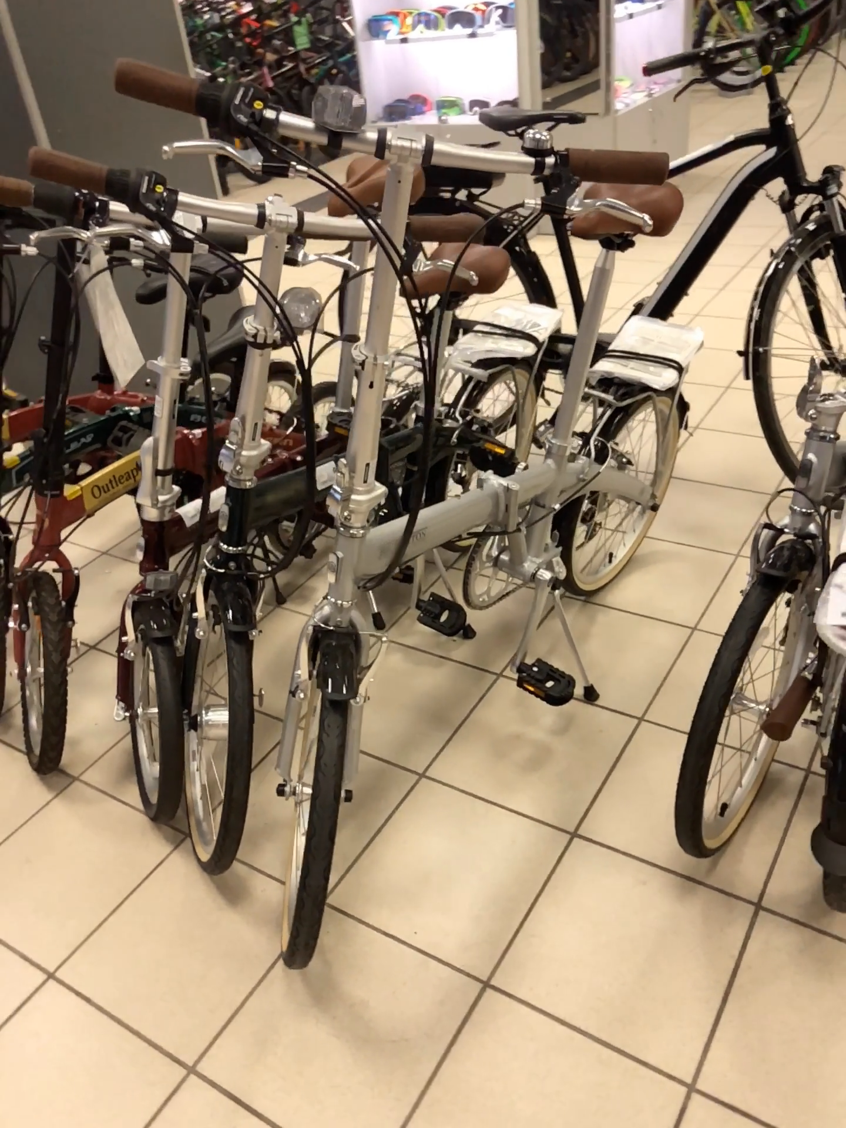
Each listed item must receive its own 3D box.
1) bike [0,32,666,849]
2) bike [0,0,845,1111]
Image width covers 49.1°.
[{"bbox_3d":[-0.019,-0.309,1.763,0.557,1.036,1.145,12,38,28],"label":"bike"},{"bbox_3d":[0.180,-0.207,1.432,0.553,1.153,1.364,14,37,30],"label":"bike"}]
